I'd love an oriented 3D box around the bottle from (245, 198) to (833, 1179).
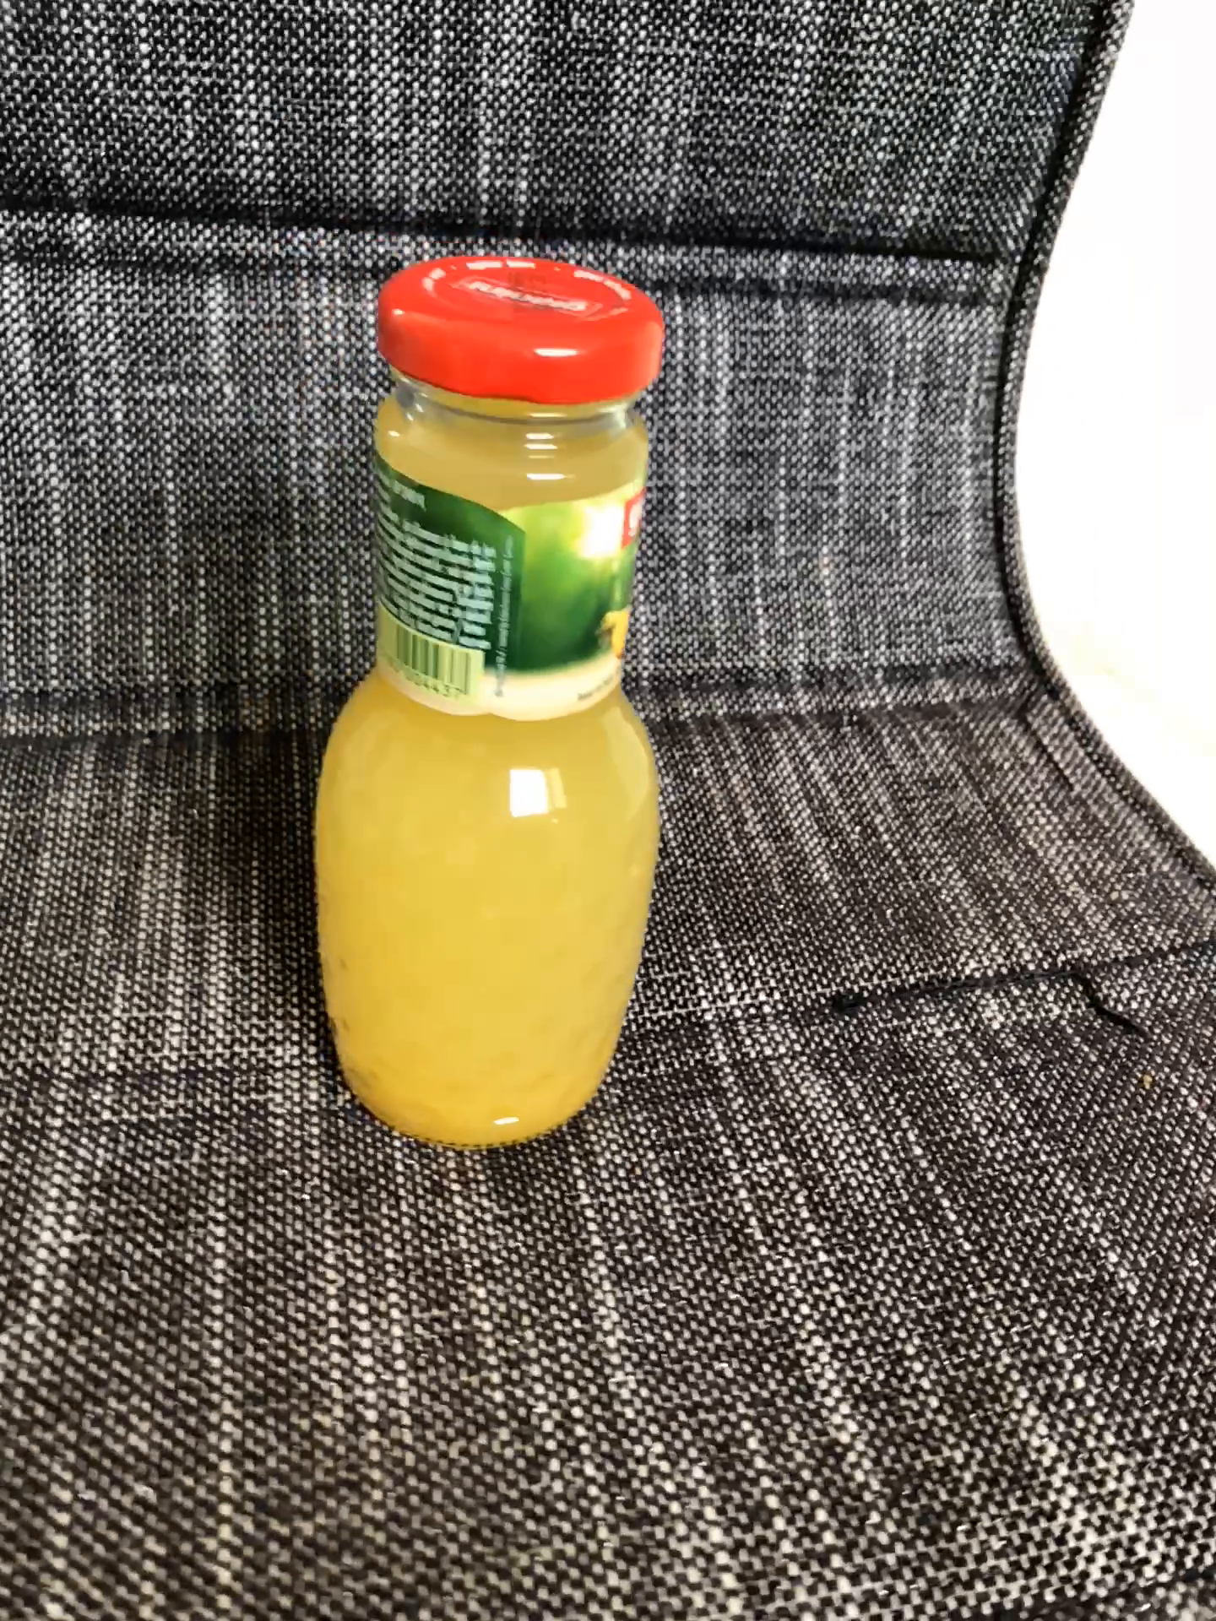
[{"bbox_3d":[-0.018,-0.014,0.232,0.070,0.149,0.070,5,35,-3],"label":"bottle"}]
